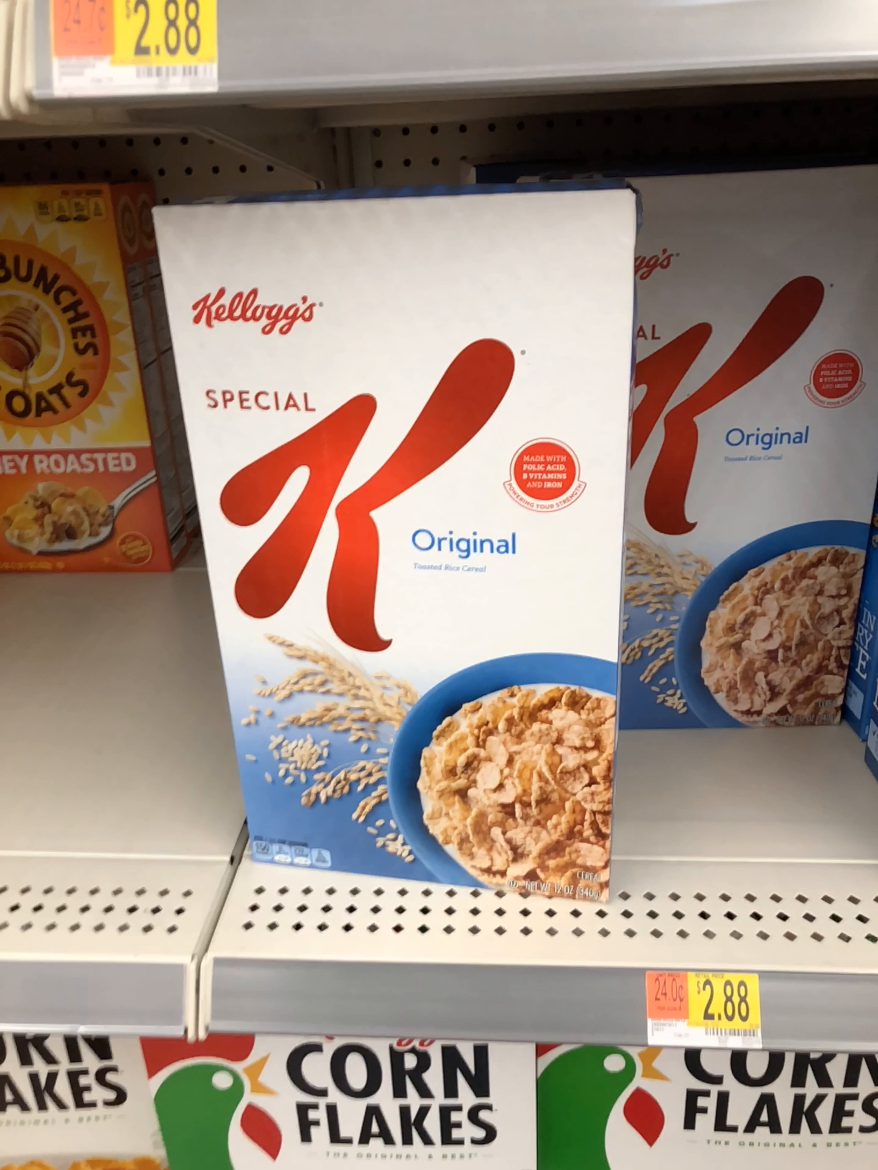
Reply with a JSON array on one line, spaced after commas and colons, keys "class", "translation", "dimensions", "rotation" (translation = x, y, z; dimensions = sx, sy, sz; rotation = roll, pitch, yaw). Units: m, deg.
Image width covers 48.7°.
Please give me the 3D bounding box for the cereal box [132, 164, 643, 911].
[{"class": "cereal box", "translation": [-0.010, -0.014, 0.455], "dimensions": [0.190, 0.329, 0.080], "rotation": [3, 25, 12]}]
